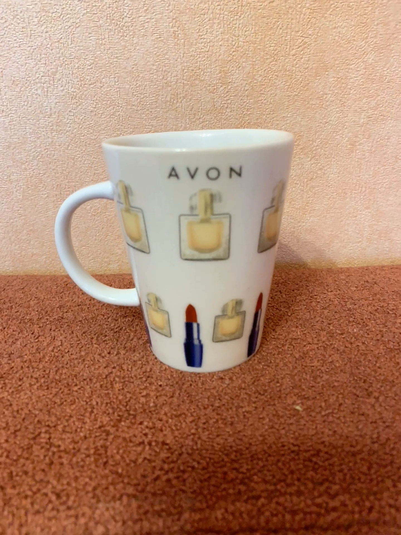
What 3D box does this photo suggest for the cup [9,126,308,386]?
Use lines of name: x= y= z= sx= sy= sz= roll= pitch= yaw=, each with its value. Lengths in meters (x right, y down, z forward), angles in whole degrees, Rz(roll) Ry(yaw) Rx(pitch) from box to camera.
cup: x=-0.010 y=-0.011 z=0.191 sx=0.103 sy=0.093 sz=0.071 roll=2 pitch=24 yaw=8
